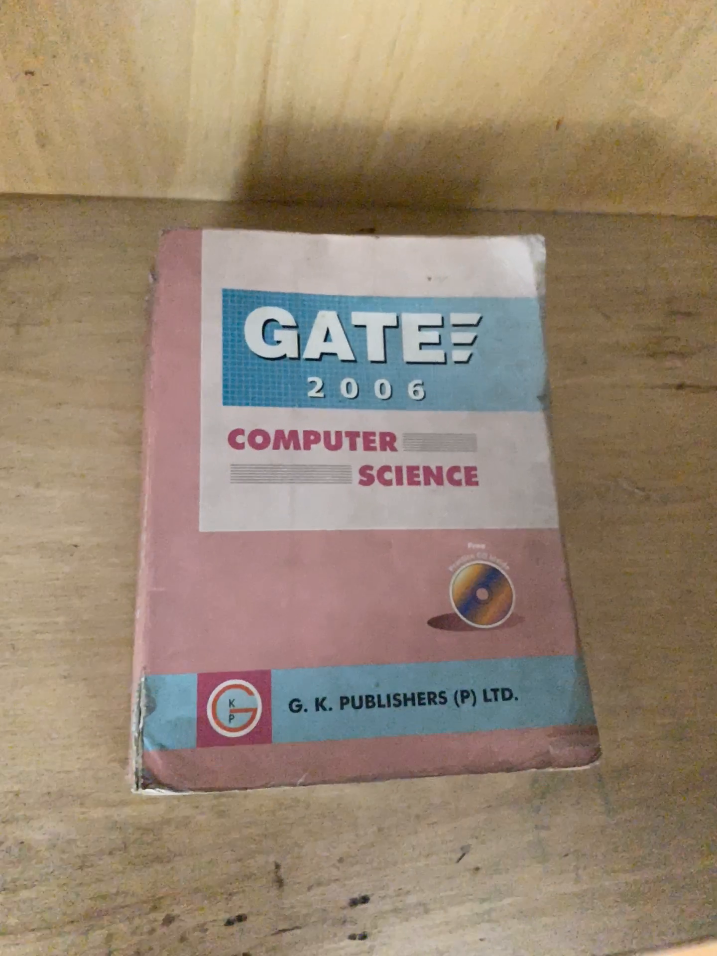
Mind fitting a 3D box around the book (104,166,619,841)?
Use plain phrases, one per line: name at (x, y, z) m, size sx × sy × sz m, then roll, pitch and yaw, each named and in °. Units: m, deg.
book at (-0.004, 0.005, 0.345) m, size 0.190 × 0.080 × 0.271 m, roll 1°, pitch 74°, yaw -11°
